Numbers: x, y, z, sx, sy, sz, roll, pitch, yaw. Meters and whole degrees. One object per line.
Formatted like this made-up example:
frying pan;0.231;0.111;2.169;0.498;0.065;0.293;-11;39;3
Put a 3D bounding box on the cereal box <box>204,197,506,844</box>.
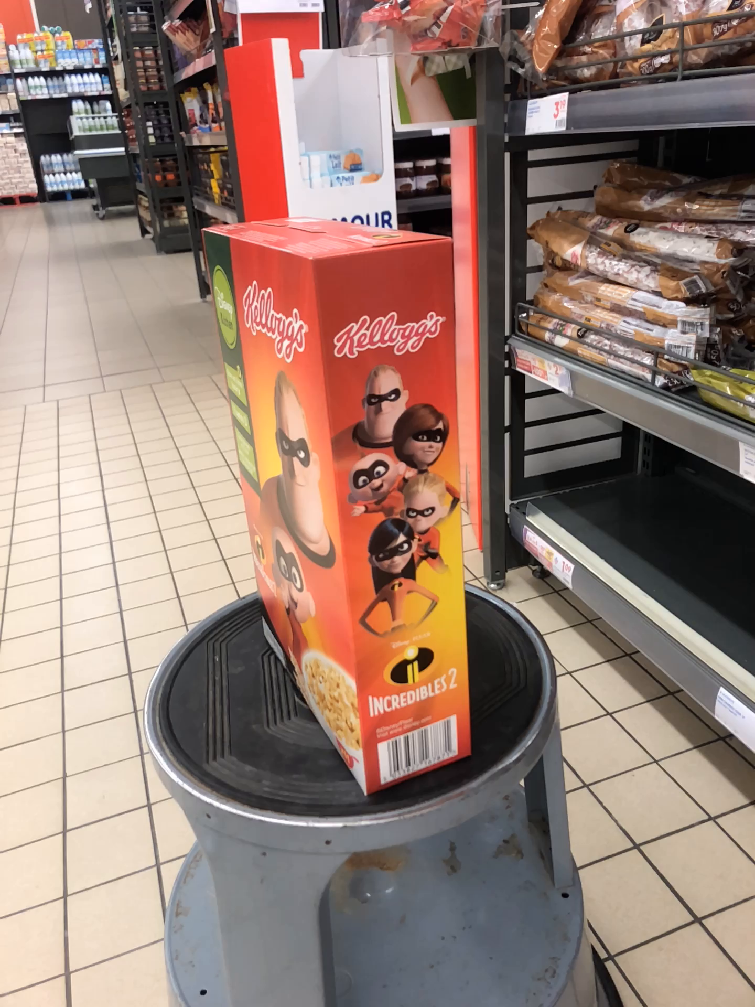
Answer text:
cereal box;-0.015;-0.004;0.475;0.080;0.308;0.201;-14;26;-19
